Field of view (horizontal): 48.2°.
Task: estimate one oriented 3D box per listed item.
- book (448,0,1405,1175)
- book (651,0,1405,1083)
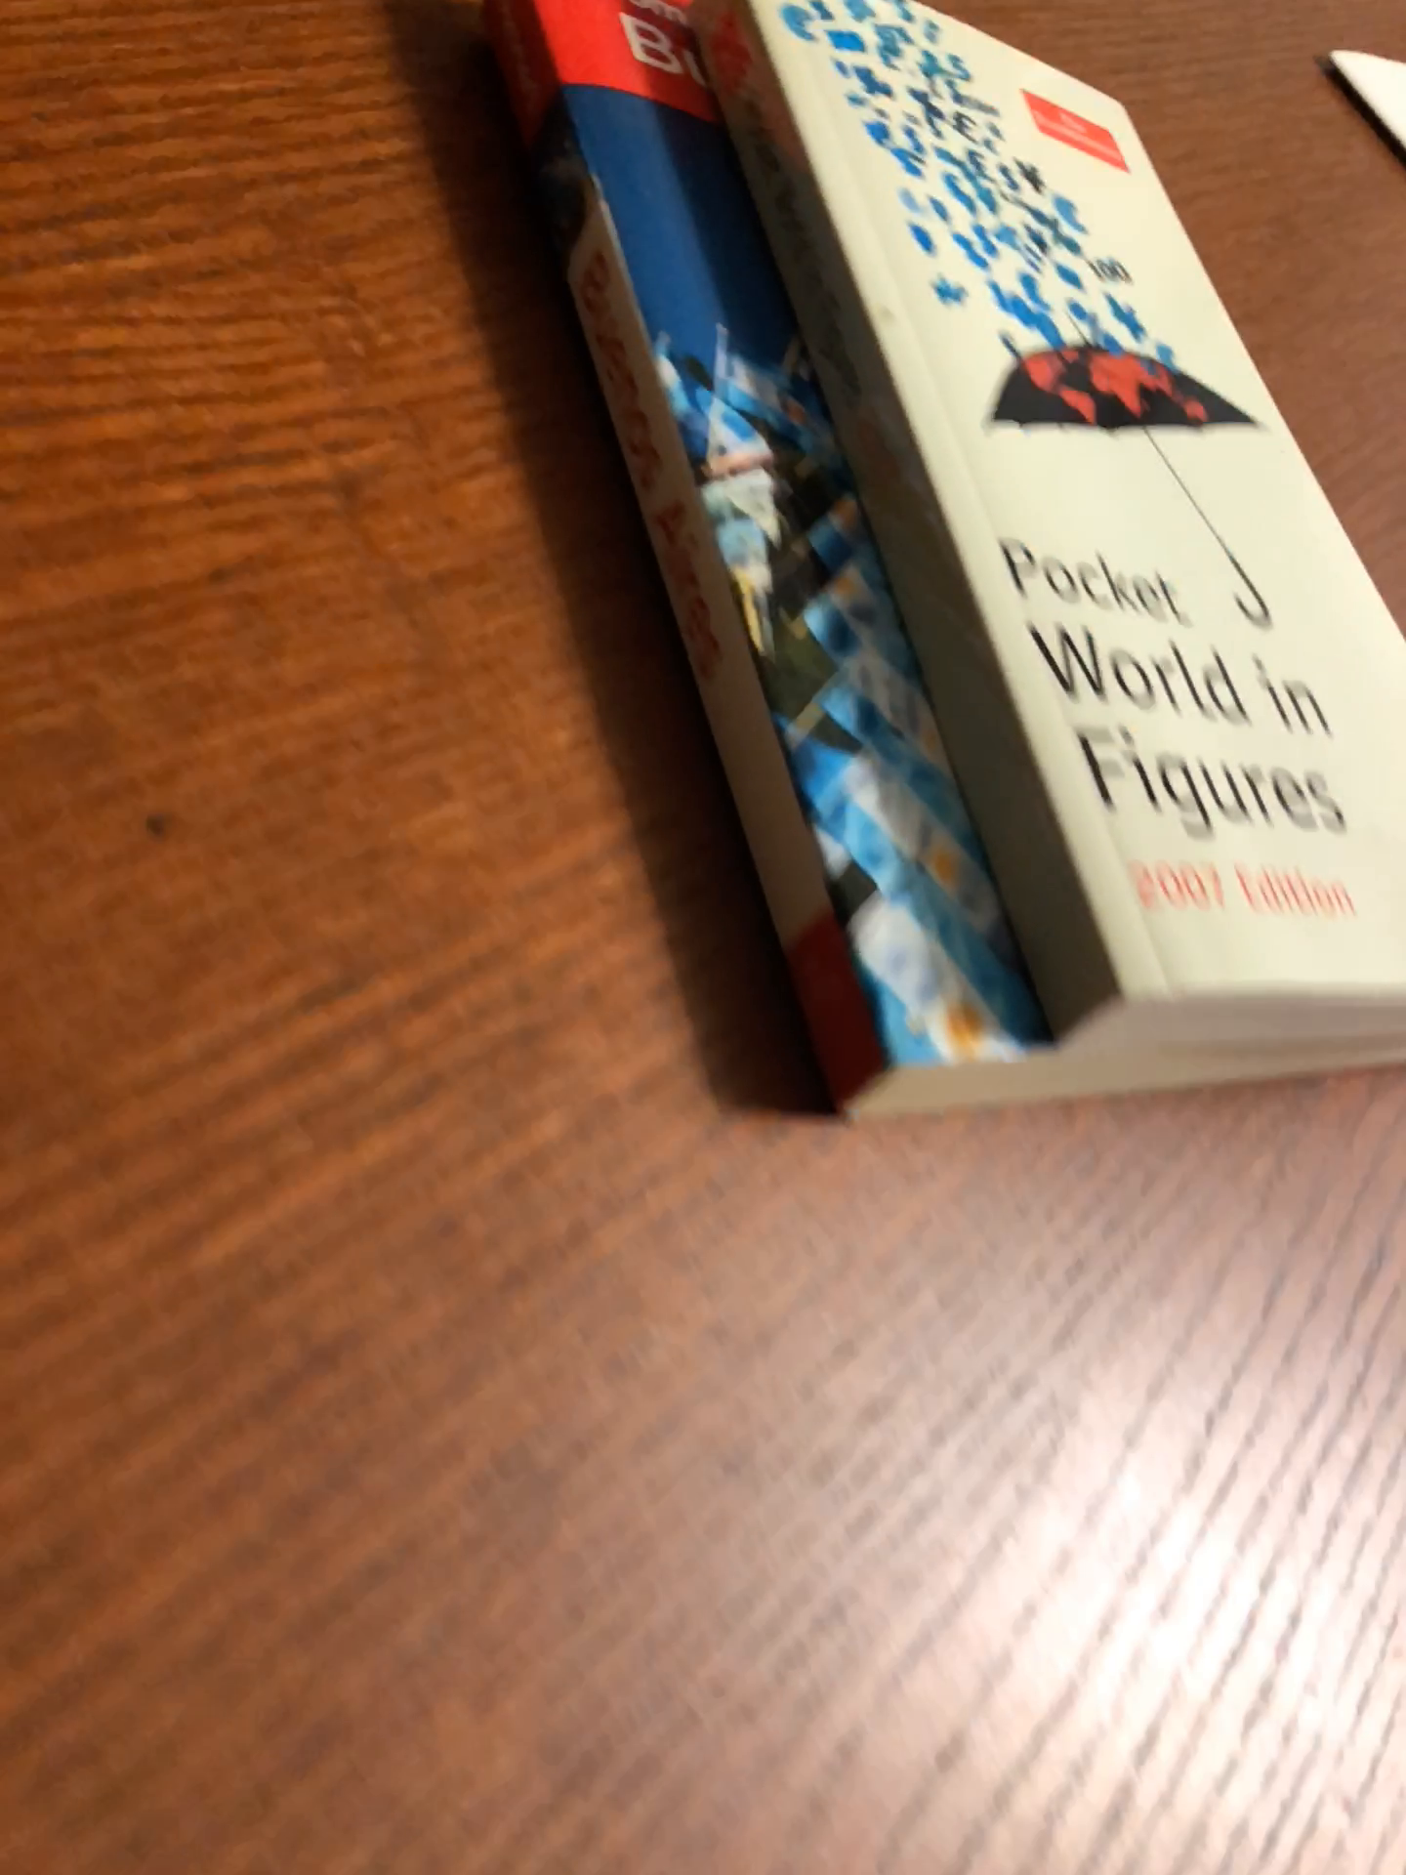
[{"bbox_3d":[0.047,-0.070,0.261,0.141,0.020,0.210,-1,62,-32],"label":"book"},{"bbox_3d":[0.061,-0.075,0.240,0.100,0.020,0.200,2,61,-31],"label":"book"}]
